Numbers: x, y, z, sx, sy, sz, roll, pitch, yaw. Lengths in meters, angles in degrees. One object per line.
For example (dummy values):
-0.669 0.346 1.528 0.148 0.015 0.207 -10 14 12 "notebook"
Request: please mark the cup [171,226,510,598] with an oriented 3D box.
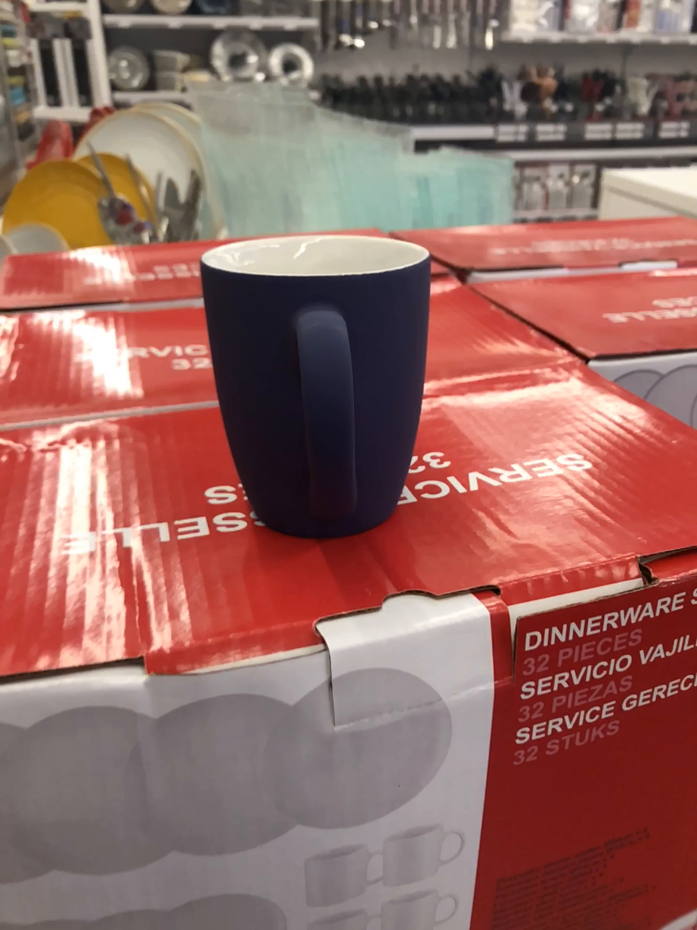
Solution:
-0.006 -0.029 0.279 0.091 0.088 0.121 -6 24 -6 "cup"
